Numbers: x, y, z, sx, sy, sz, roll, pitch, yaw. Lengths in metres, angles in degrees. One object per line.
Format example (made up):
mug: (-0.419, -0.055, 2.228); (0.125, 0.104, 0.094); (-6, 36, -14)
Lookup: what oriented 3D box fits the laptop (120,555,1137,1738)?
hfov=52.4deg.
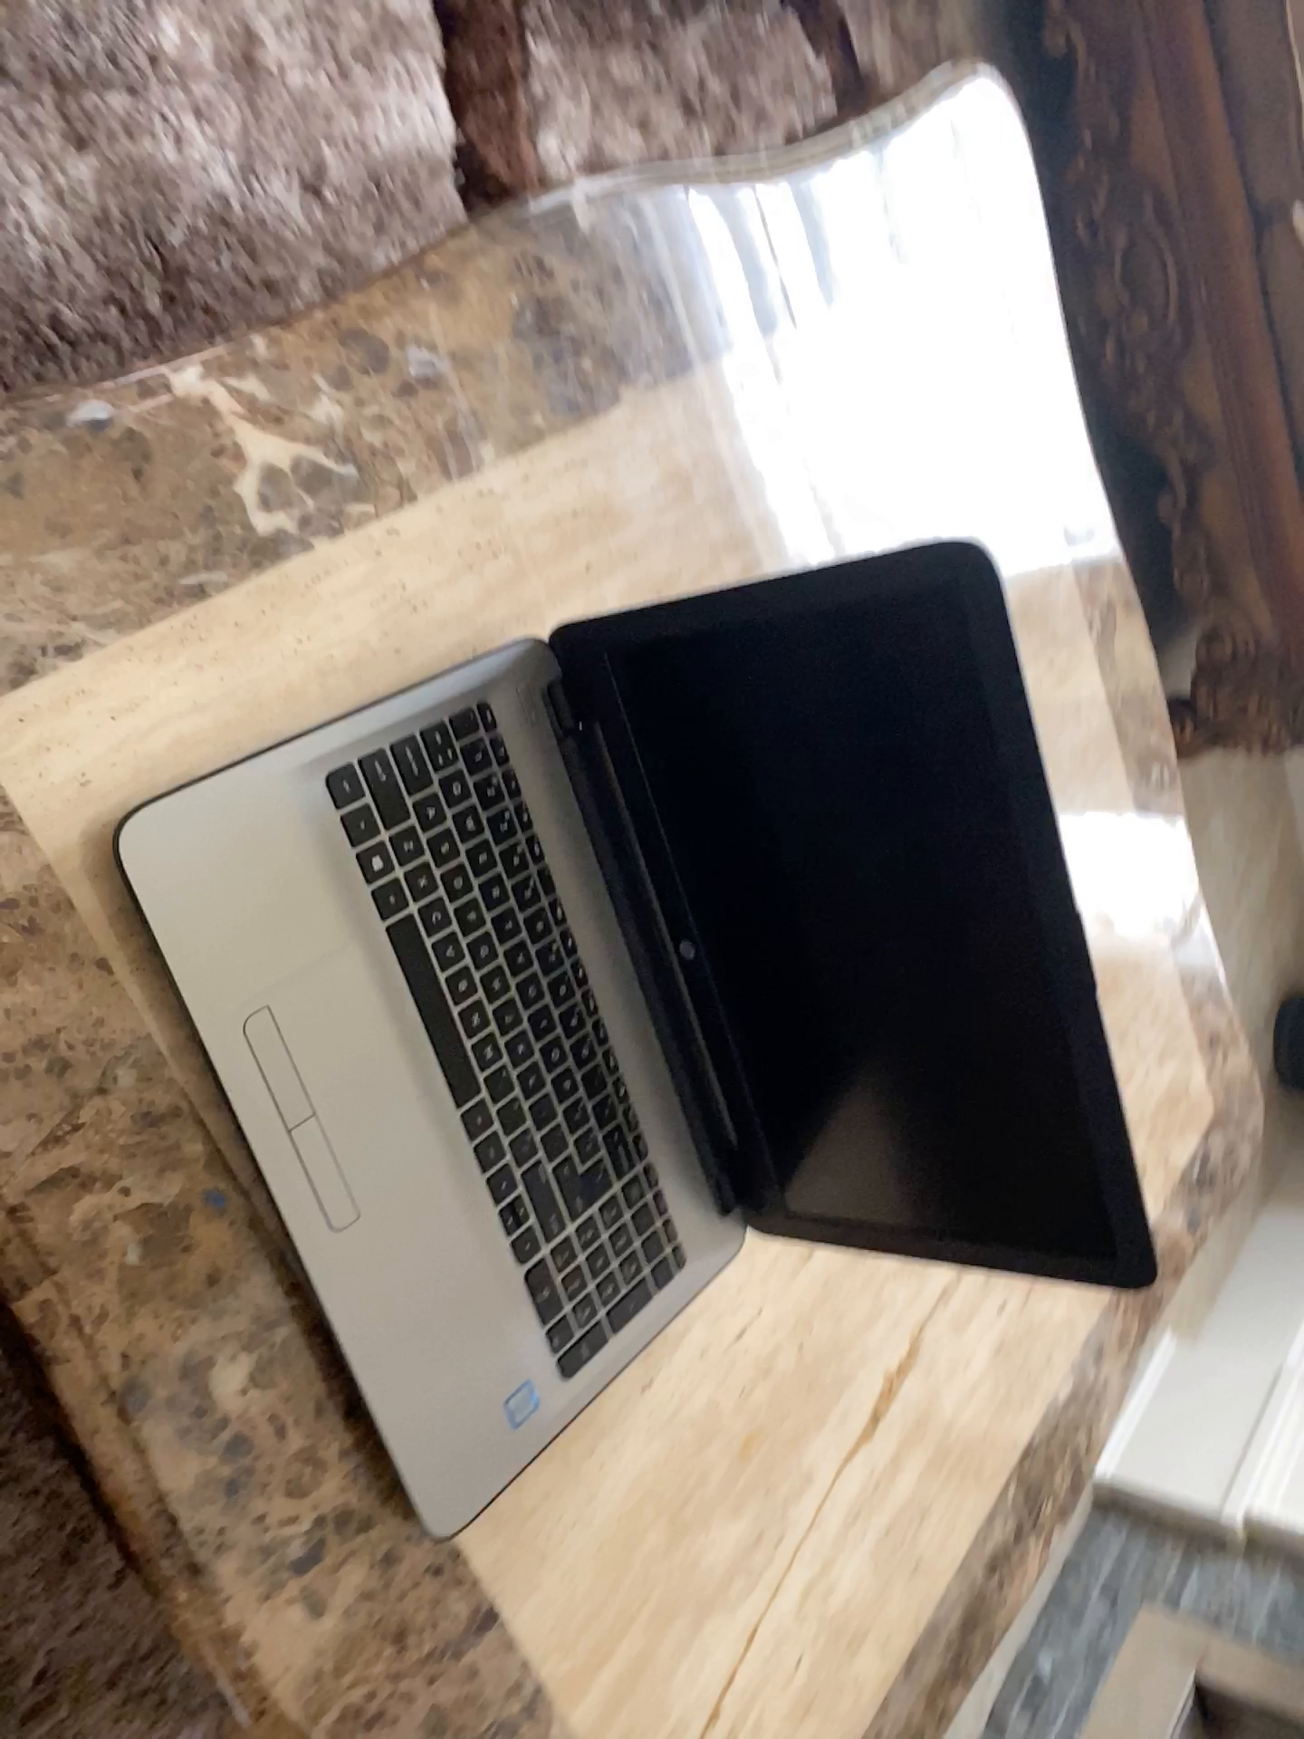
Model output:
laptop: (0.014, 0.097, 0.581); (0.266, 0.240, 0.372); (-35, 114, -41)
